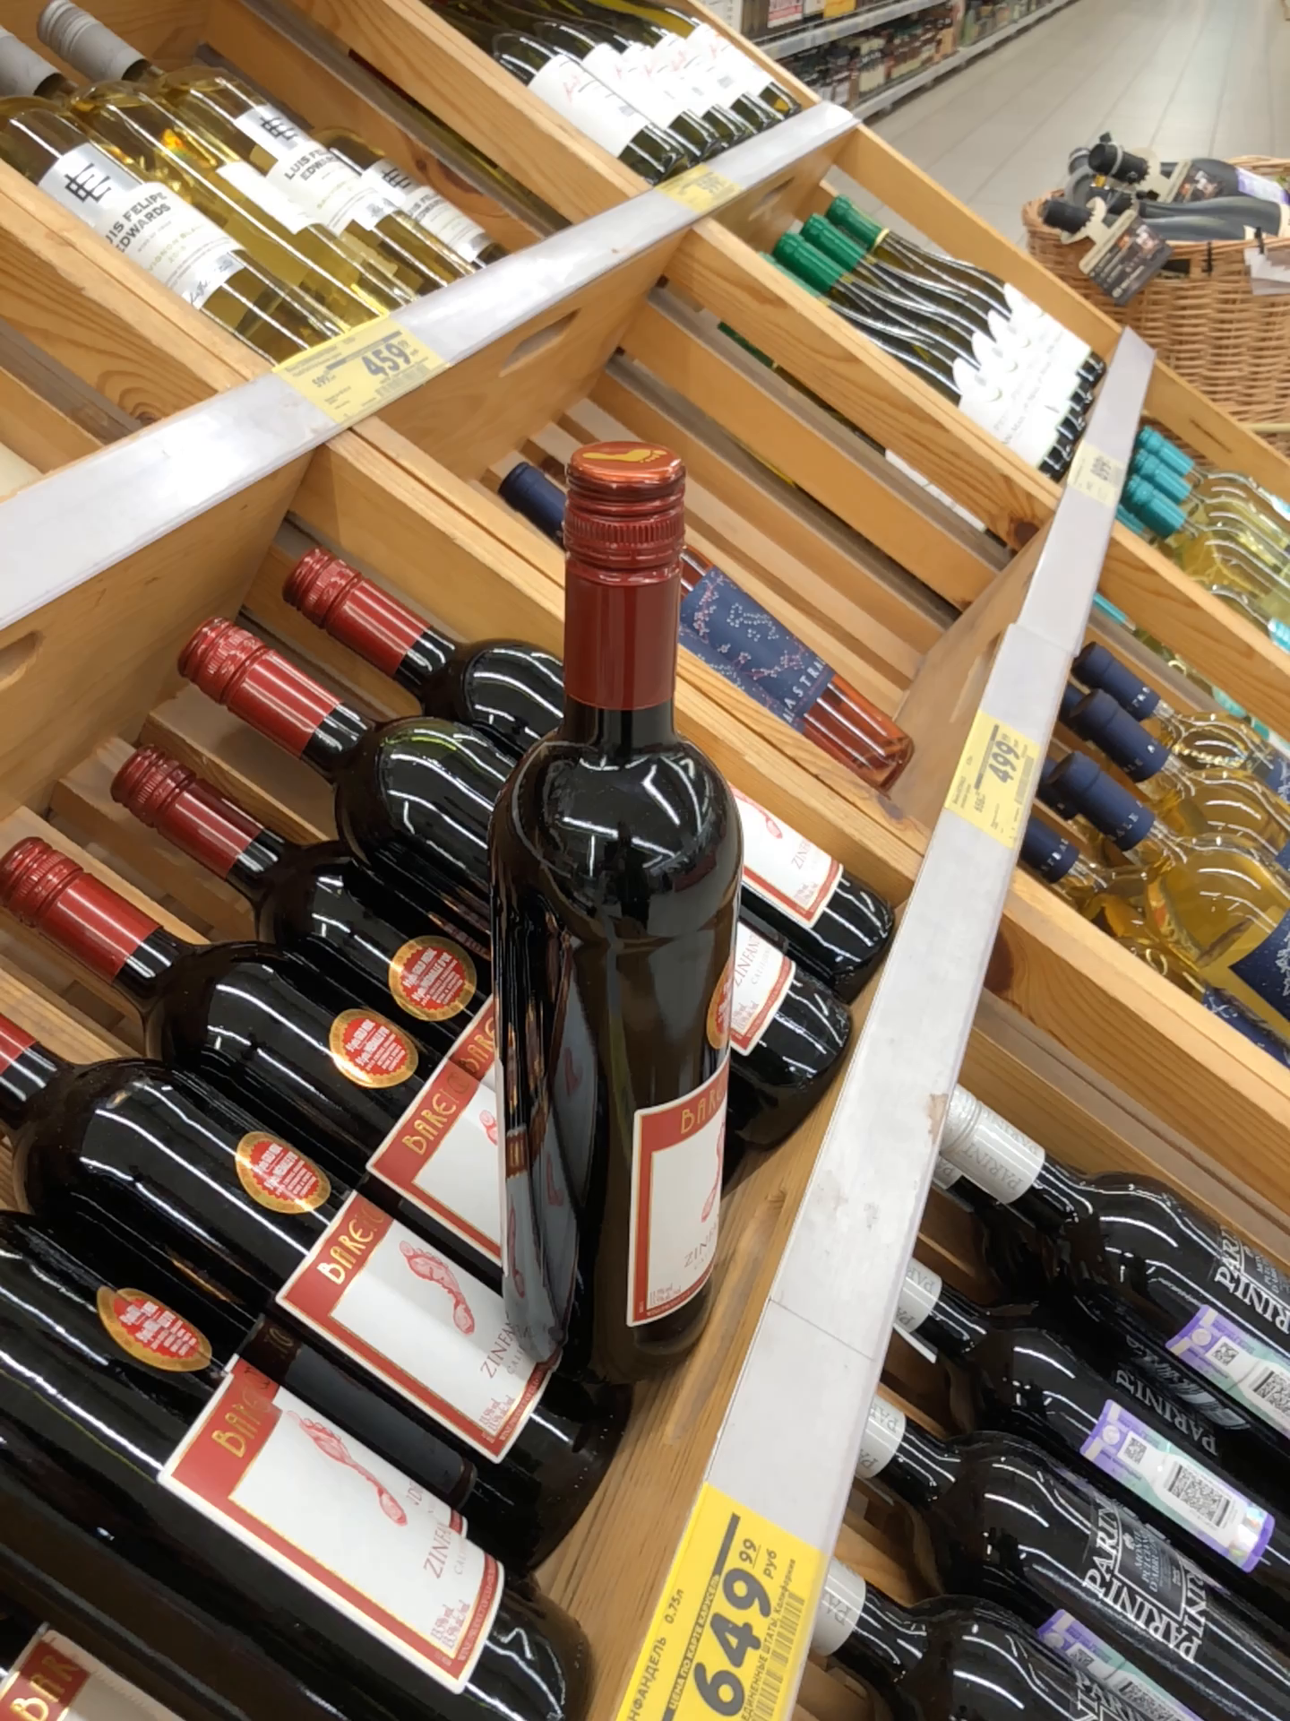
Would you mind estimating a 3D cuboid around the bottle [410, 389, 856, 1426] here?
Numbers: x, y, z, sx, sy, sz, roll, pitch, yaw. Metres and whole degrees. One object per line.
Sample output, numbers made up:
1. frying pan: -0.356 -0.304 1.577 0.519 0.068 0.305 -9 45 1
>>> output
1. bottle: -0.005 0.028 0.403 0.080 0.288 0.080 2 34 -1
